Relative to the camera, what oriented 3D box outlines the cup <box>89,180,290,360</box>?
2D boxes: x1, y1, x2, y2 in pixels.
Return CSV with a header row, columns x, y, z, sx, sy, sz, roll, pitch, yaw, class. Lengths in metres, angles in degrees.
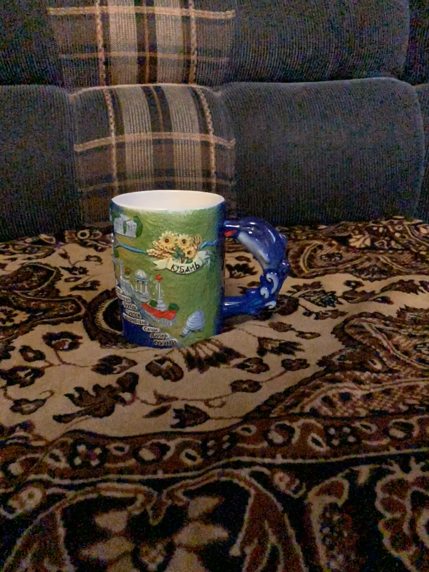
x,y,z,sx,sy,sz,roll,pitch,yaw,class
-0.011,-0.019,0.335,0.127,0.106,0.090,3,21,9,cup
